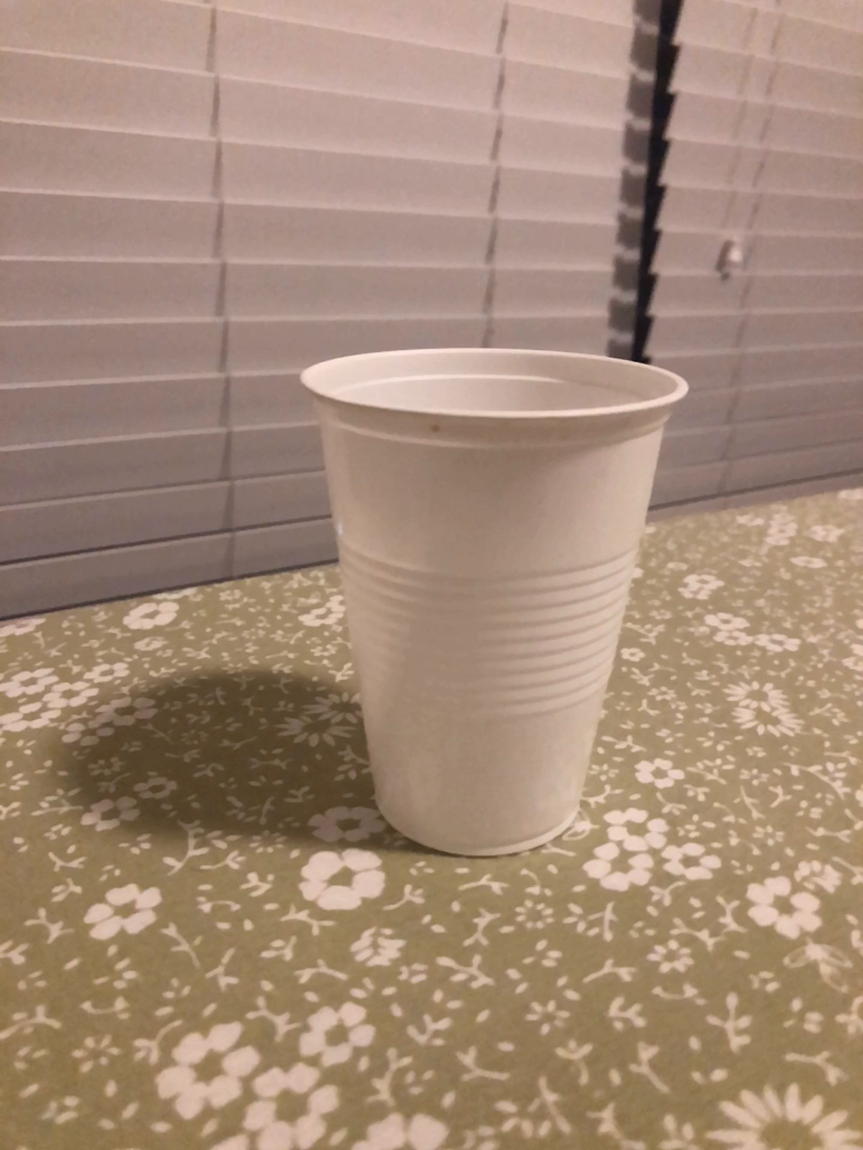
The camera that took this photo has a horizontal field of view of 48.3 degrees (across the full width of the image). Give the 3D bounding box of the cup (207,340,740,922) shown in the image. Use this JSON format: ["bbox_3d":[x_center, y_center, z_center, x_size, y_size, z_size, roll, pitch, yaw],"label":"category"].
[{"bbox_3d":[0.011,0.001,0.209,0.077,0.090,0.079,0,20,0],"label":"cup"}]
